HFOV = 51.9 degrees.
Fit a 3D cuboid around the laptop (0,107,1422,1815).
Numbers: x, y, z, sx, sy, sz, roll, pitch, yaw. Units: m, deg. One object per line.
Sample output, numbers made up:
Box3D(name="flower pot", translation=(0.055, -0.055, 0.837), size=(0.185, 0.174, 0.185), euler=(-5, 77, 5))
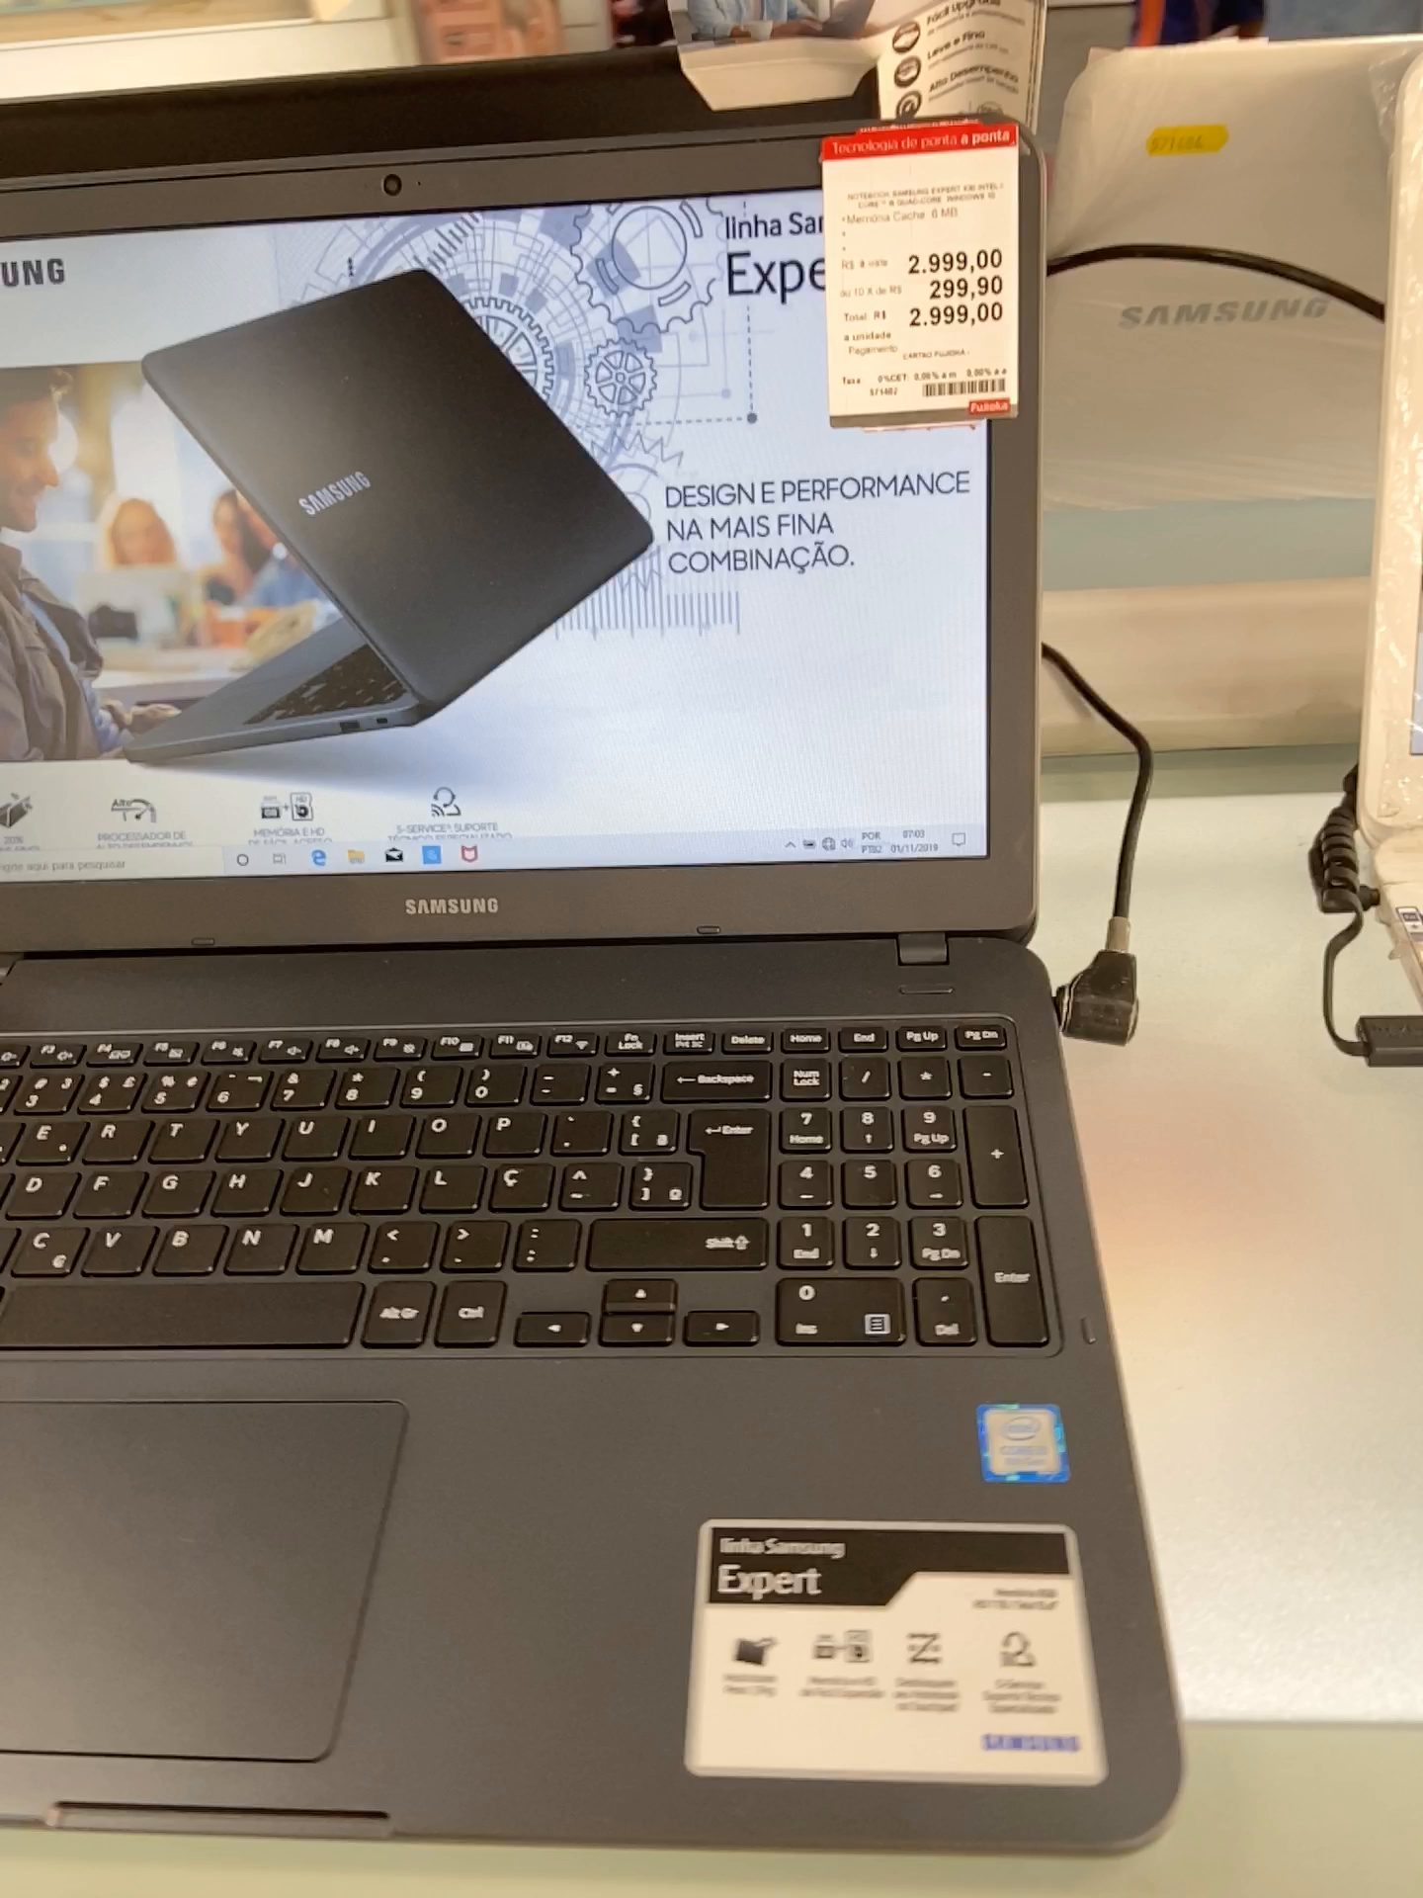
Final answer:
Box3D(name="laptop", translation=(-0.096, -0.030, 0.362), size=(0.370, 0.200, 0.370), euler=(-2, 43, 5))
